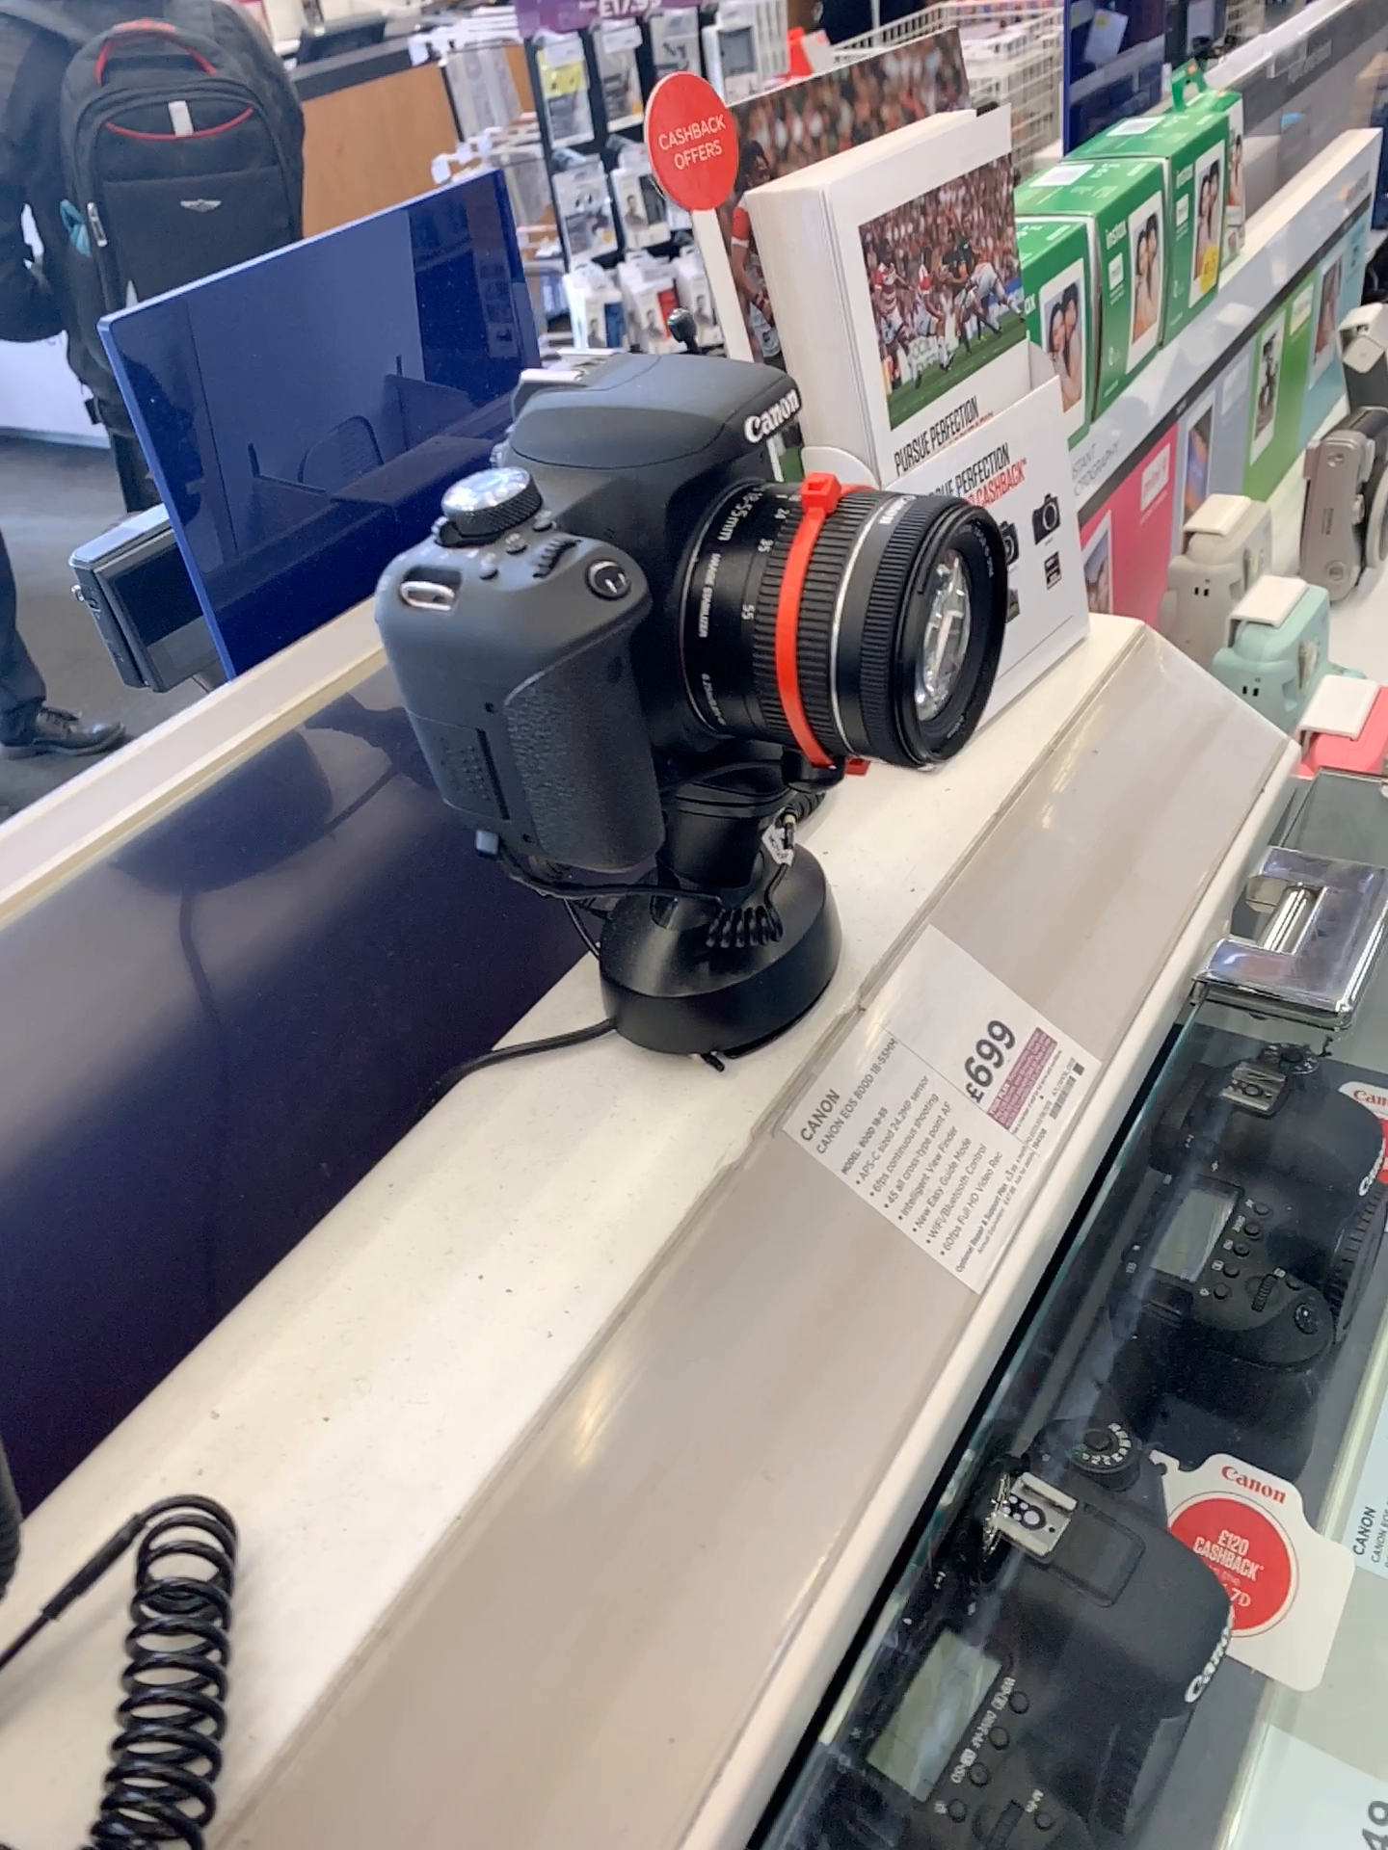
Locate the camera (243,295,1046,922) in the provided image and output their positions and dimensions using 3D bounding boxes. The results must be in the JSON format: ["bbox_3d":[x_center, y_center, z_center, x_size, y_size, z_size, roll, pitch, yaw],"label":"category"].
[{"bbox_3d":[0.000,-0.090,0.357,0.140,0.089,0.141,11,41,25],"label":"camera"}]
